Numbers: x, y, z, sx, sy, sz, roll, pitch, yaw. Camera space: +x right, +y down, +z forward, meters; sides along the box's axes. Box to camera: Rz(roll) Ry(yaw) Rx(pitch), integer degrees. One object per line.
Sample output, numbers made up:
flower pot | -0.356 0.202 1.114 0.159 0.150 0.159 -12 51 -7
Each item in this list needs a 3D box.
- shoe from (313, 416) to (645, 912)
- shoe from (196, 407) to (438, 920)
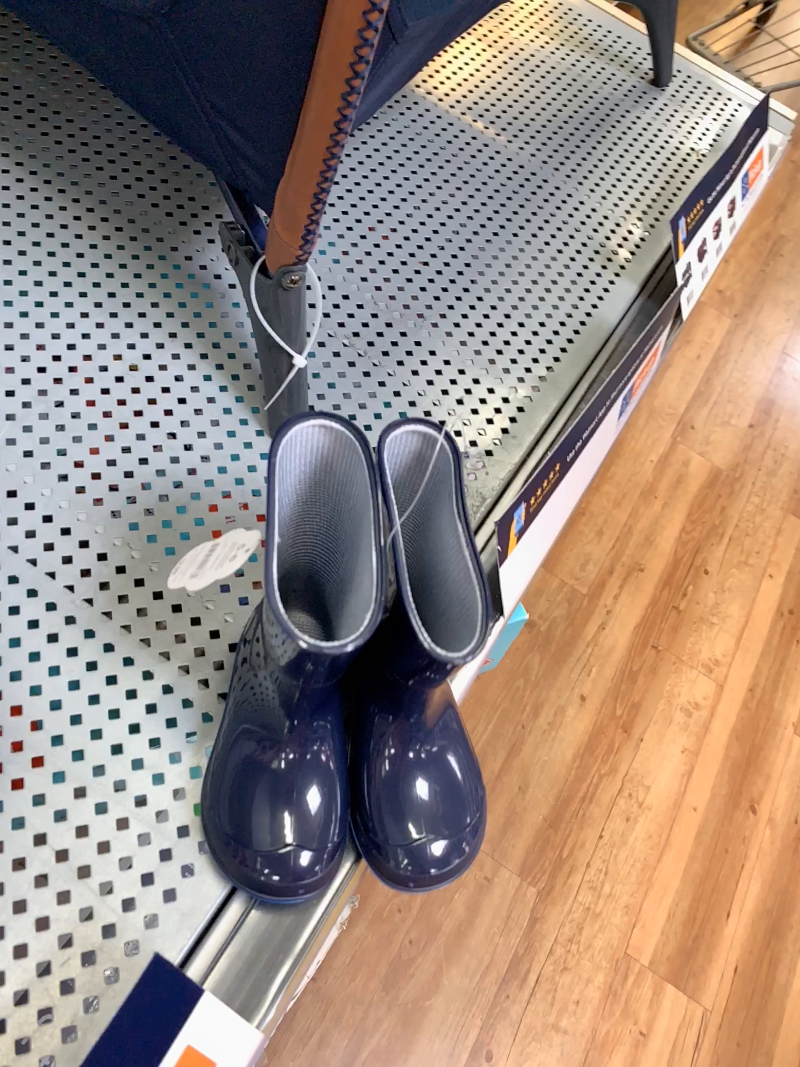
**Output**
shoe | 0.017 0.062 0.370 0.076 0.143 0.174 -4 60 -15
shoe | -0.047 0.060 0.354 0.074 0.143 0.174 0 59 -13
